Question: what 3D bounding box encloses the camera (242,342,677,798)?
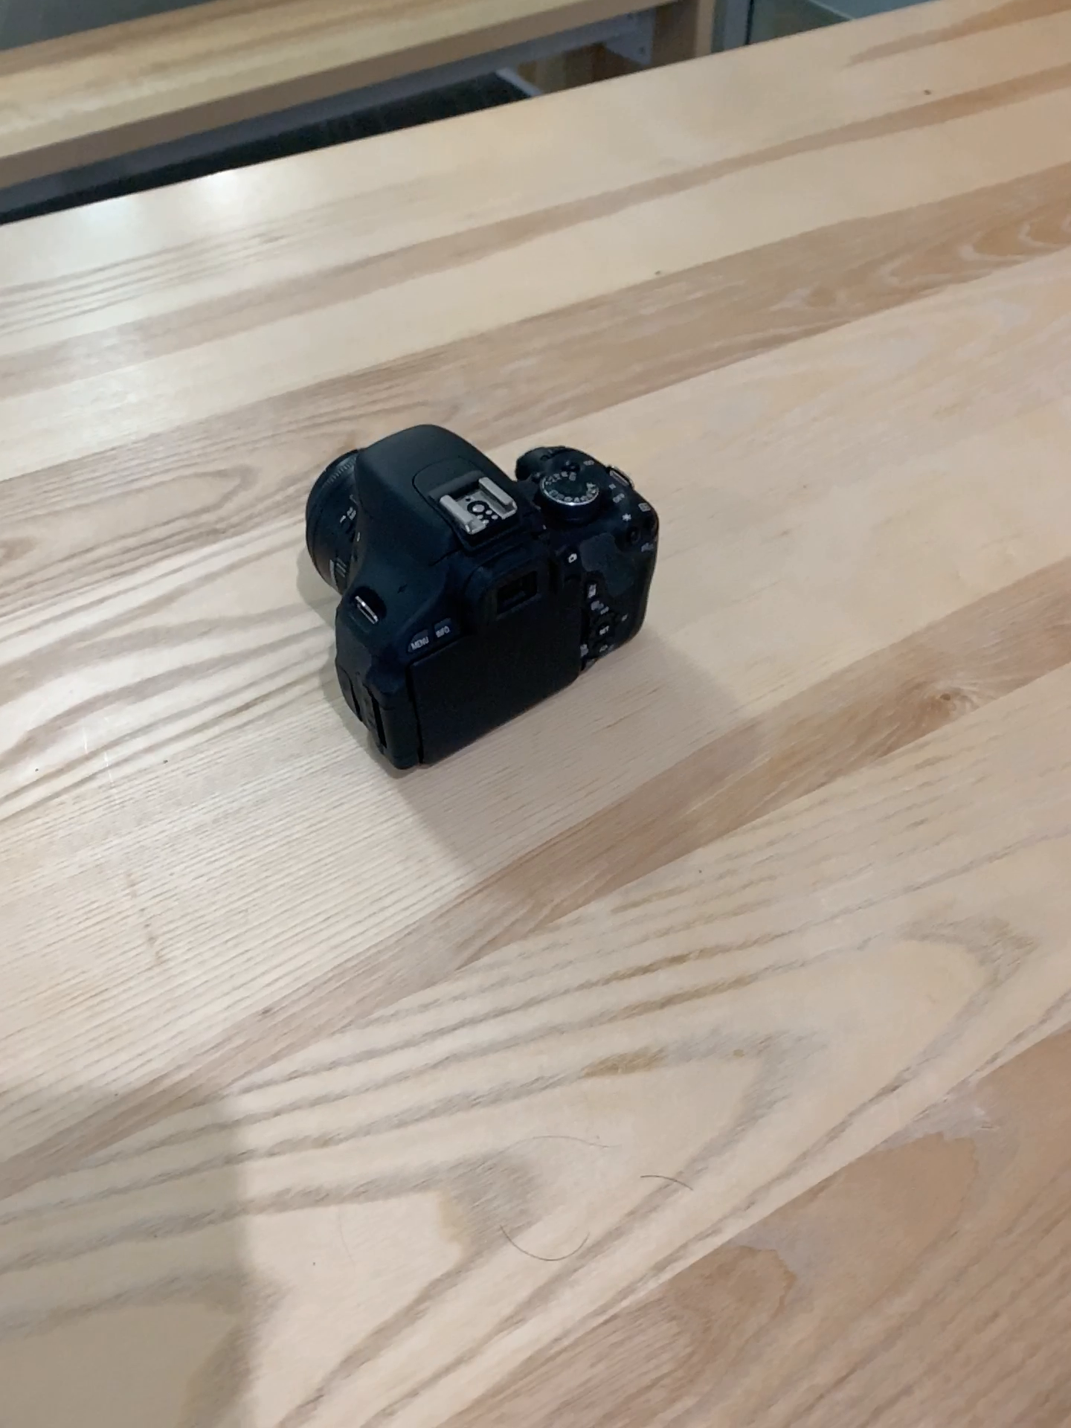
[{"bbox_3d":[-0.031,-0.062,0.456,0.120,0.101,0.114,-31,61,-23],"label":"camera"}]
